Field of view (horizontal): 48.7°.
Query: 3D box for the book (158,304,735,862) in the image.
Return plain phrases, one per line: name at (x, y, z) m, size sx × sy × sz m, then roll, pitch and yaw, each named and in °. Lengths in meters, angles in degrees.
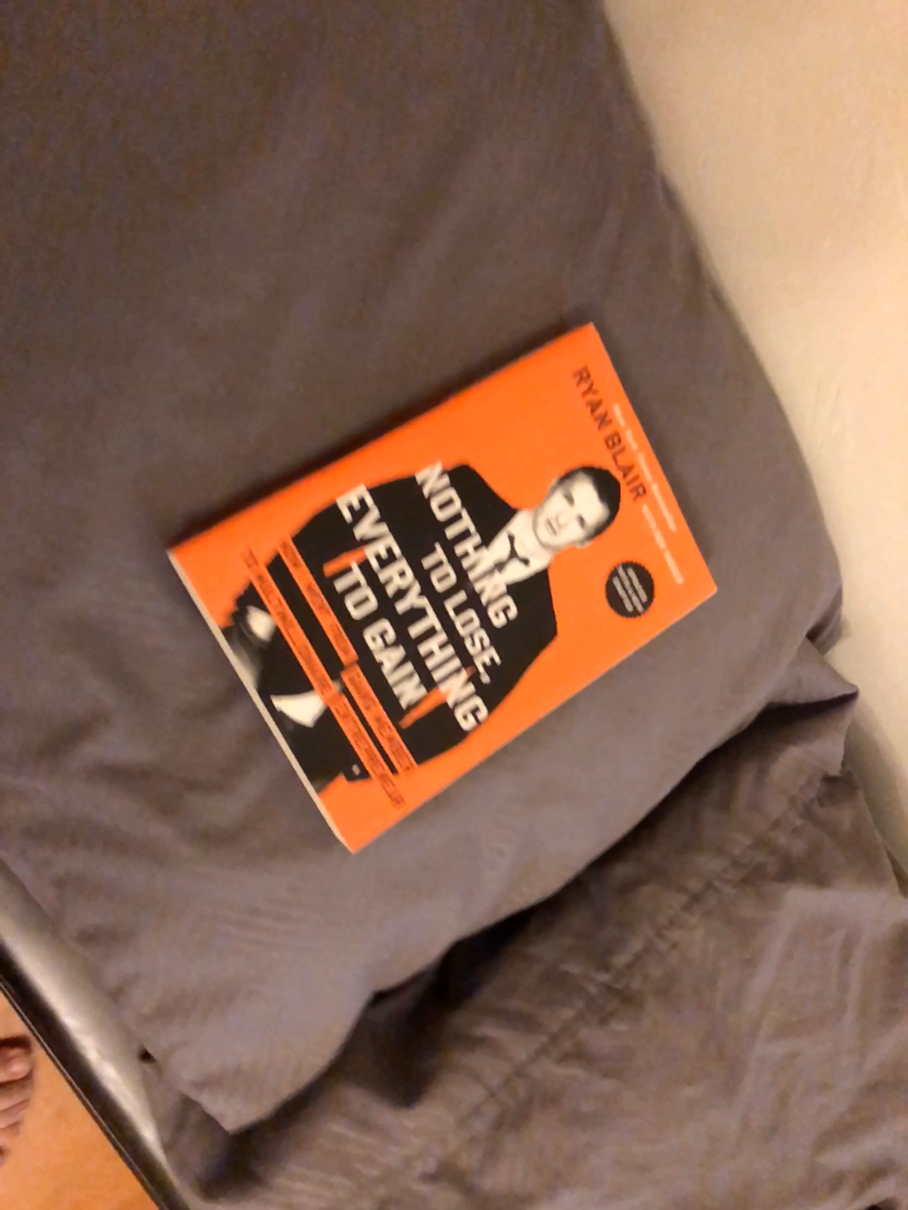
book at (0.011, -0.016, 0.448) m, size 0.230 × 0.020 × 0.150 m, roll -32°, pitch 105°, yaw -21°
